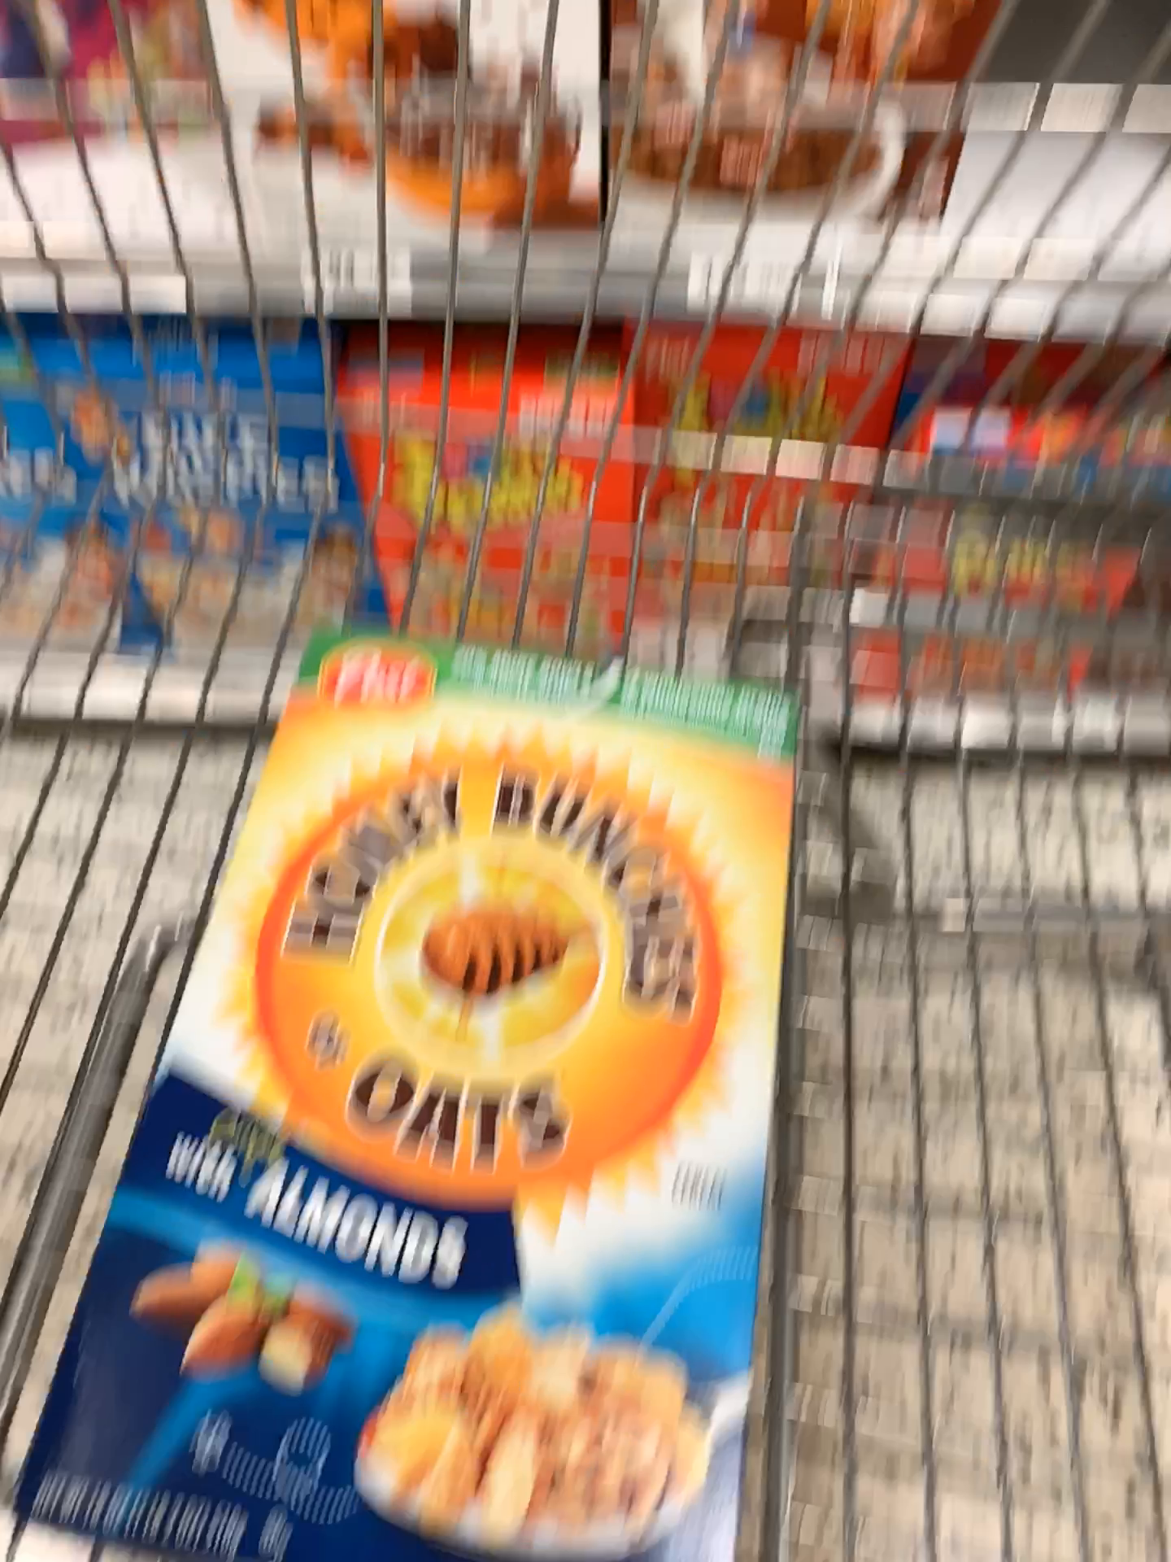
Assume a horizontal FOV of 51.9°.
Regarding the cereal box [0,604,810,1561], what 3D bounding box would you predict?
[{"bbox_3d":[-0.043,0.091,0.400,0.210,0.060,0.302,8,59,3],"label":"cereal box"}]
